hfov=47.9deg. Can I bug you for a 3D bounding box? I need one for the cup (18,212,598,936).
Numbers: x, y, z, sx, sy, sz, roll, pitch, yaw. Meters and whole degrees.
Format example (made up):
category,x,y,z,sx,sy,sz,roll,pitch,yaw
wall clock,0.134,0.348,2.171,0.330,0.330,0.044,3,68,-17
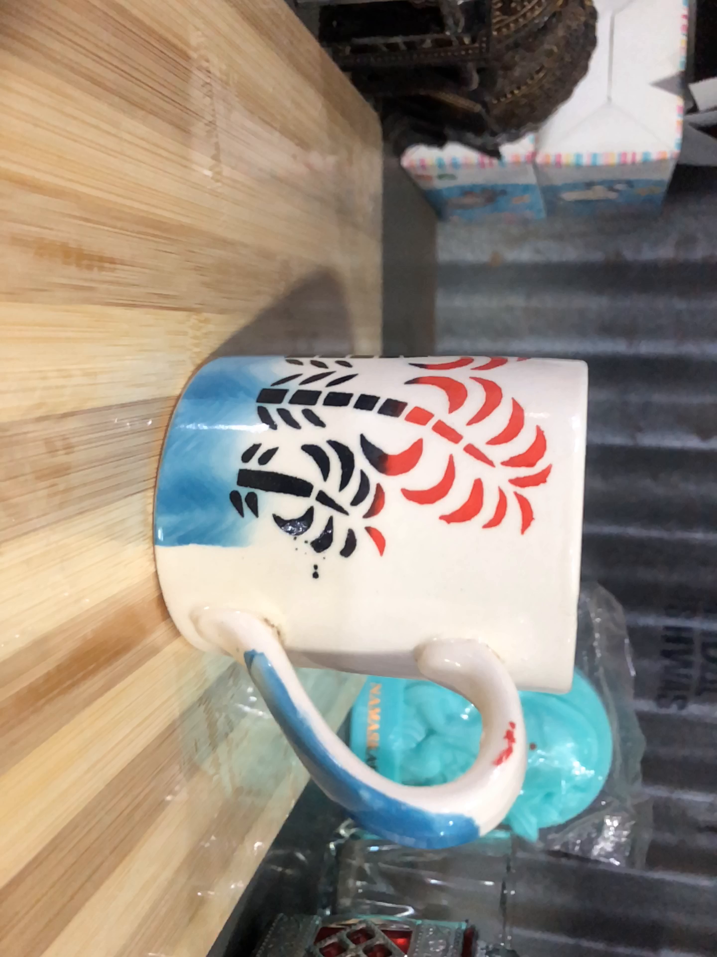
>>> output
category,x,y,z,sx,sy,sz,roll,pitch,yaw
cup,0.008,0.019,0.182,0.100,0.080,0.120,78,19,-49
